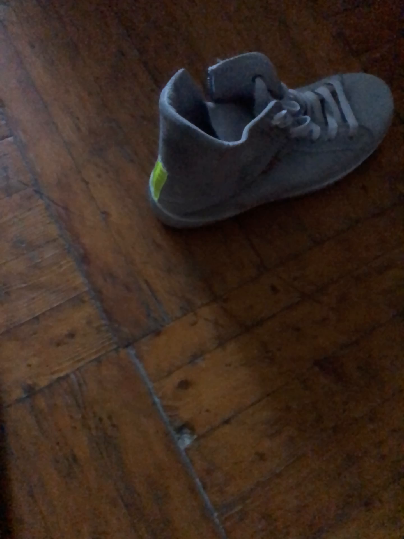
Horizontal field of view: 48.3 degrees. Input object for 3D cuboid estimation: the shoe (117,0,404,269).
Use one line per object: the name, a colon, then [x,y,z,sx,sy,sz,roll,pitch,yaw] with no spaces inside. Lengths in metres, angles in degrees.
shoe: [0.091,-0.138,0.439,0.310,0.220,0.130,-22,84,-13]
